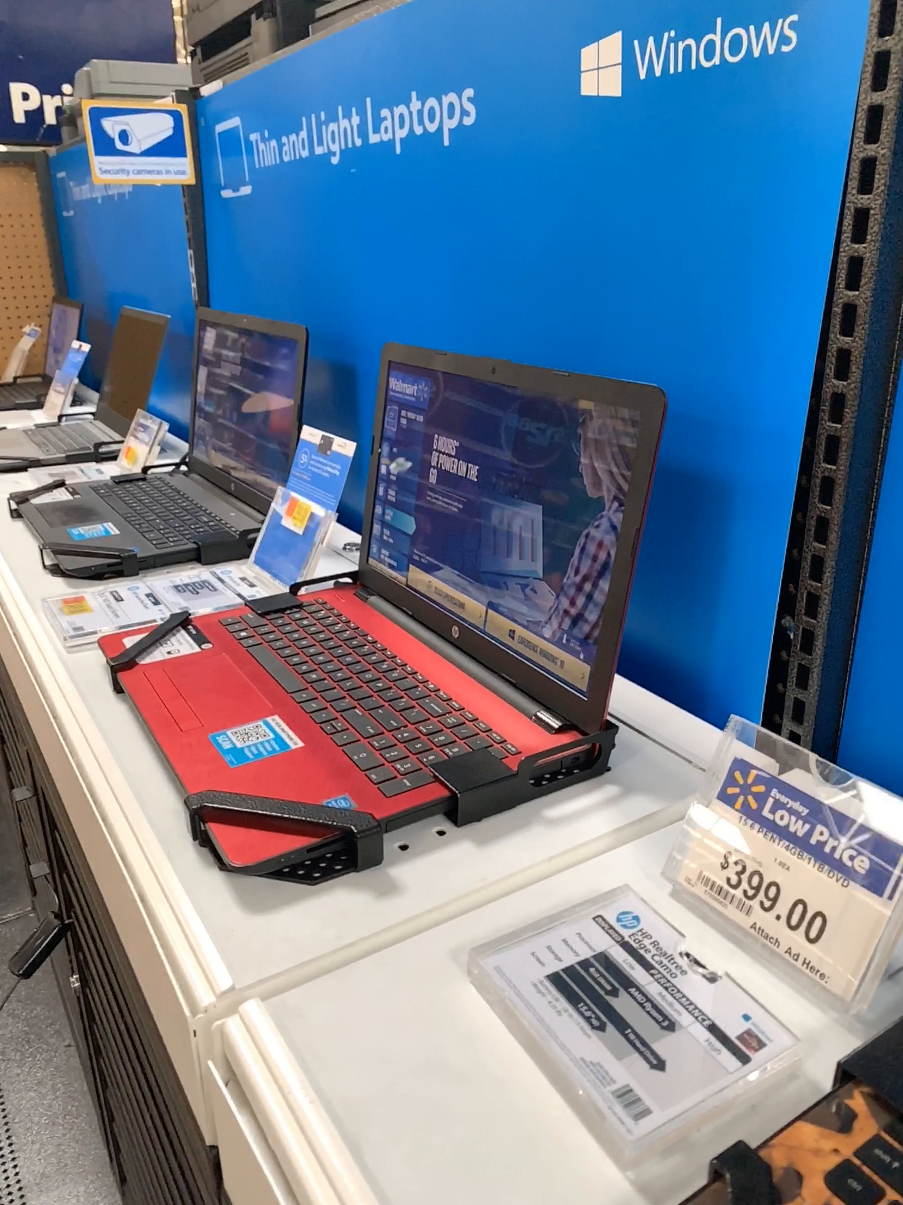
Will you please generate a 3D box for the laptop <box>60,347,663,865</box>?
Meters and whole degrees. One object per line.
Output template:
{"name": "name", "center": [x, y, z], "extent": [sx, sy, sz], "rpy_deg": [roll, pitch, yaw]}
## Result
{"name": "laptop", "center": [-0.087, -0.046, 0.668], "extent": [0.279, 0.223, 0.365], "rpy_deg": [-13, 24, -27]}
